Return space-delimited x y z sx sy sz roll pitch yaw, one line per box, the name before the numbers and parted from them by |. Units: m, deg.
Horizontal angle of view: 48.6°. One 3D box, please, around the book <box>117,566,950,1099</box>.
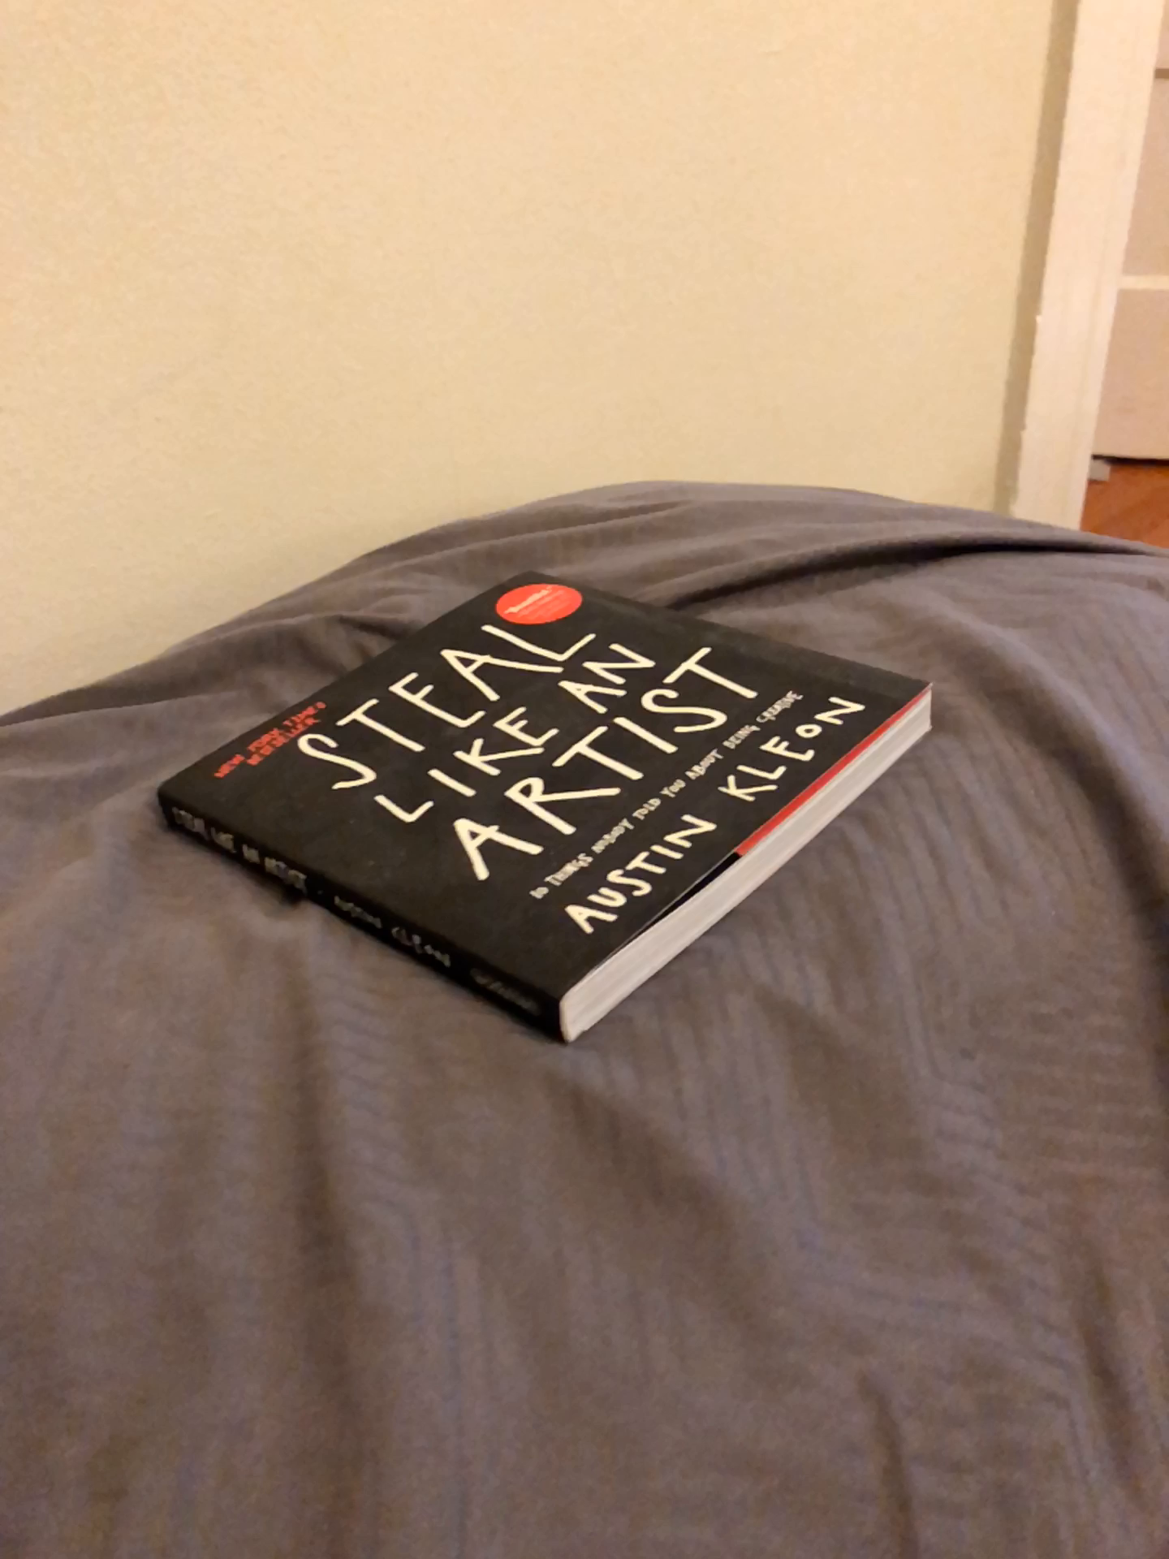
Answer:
book | -0.013 -0.004 0.355 0.160 0.020 0.161 22 42 36
